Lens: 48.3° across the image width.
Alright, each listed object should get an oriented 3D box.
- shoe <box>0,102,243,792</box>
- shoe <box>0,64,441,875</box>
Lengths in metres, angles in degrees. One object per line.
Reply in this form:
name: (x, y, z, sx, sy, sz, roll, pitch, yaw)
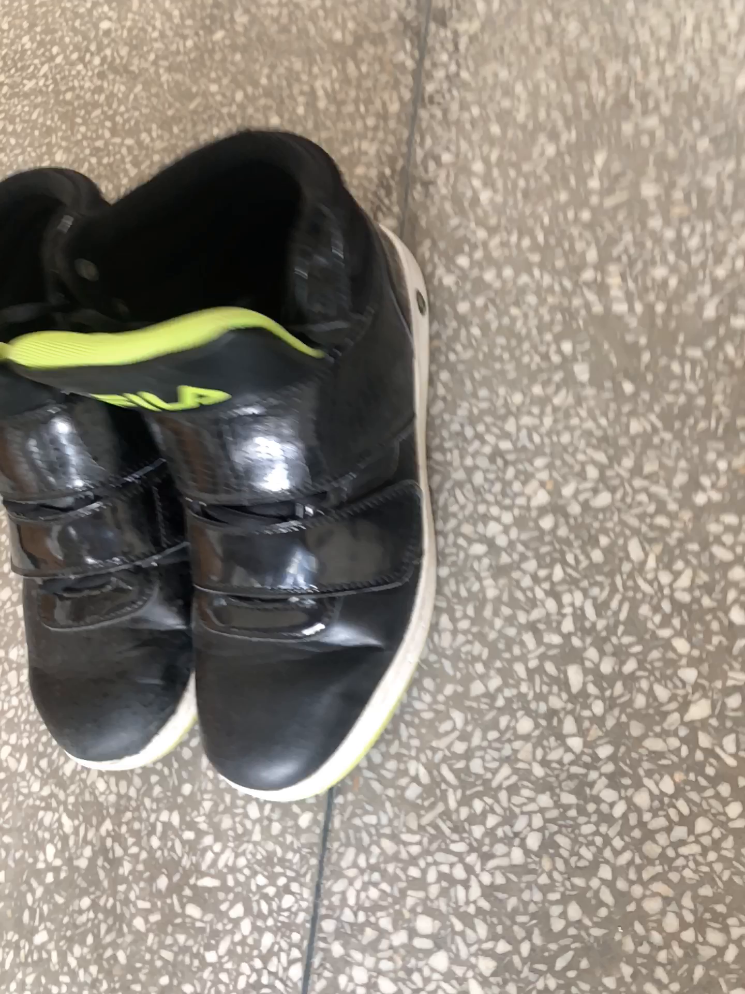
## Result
shoe: (-0.152, -0.009, 0.395, 0.120, 0.147, 0.270, -10, 71, 19)
shoe: (-0.053, -0.002, 0.332, 0.120, 0.147, 0.250, -3, 74, 21)
